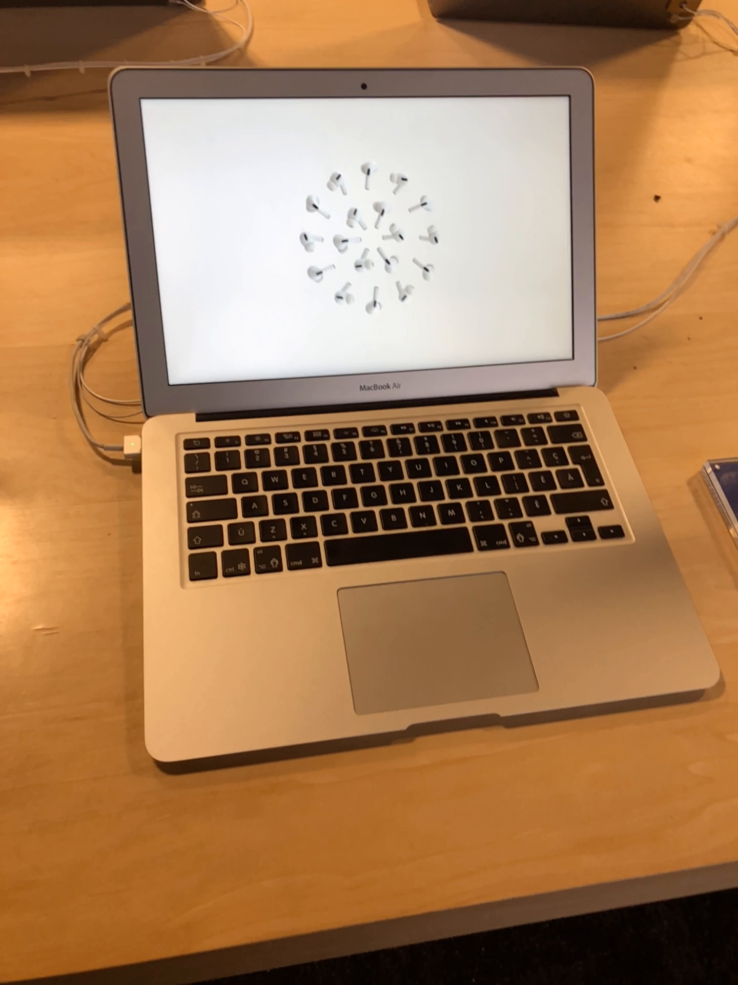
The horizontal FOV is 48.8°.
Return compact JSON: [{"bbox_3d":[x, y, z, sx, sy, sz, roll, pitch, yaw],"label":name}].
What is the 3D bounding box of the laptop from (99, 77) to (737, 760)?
[{"bbox_3d":[0.022,-0.074,0.478,0.311,0.151,0.372,-5,54,-10],"label":"laptop"}]
